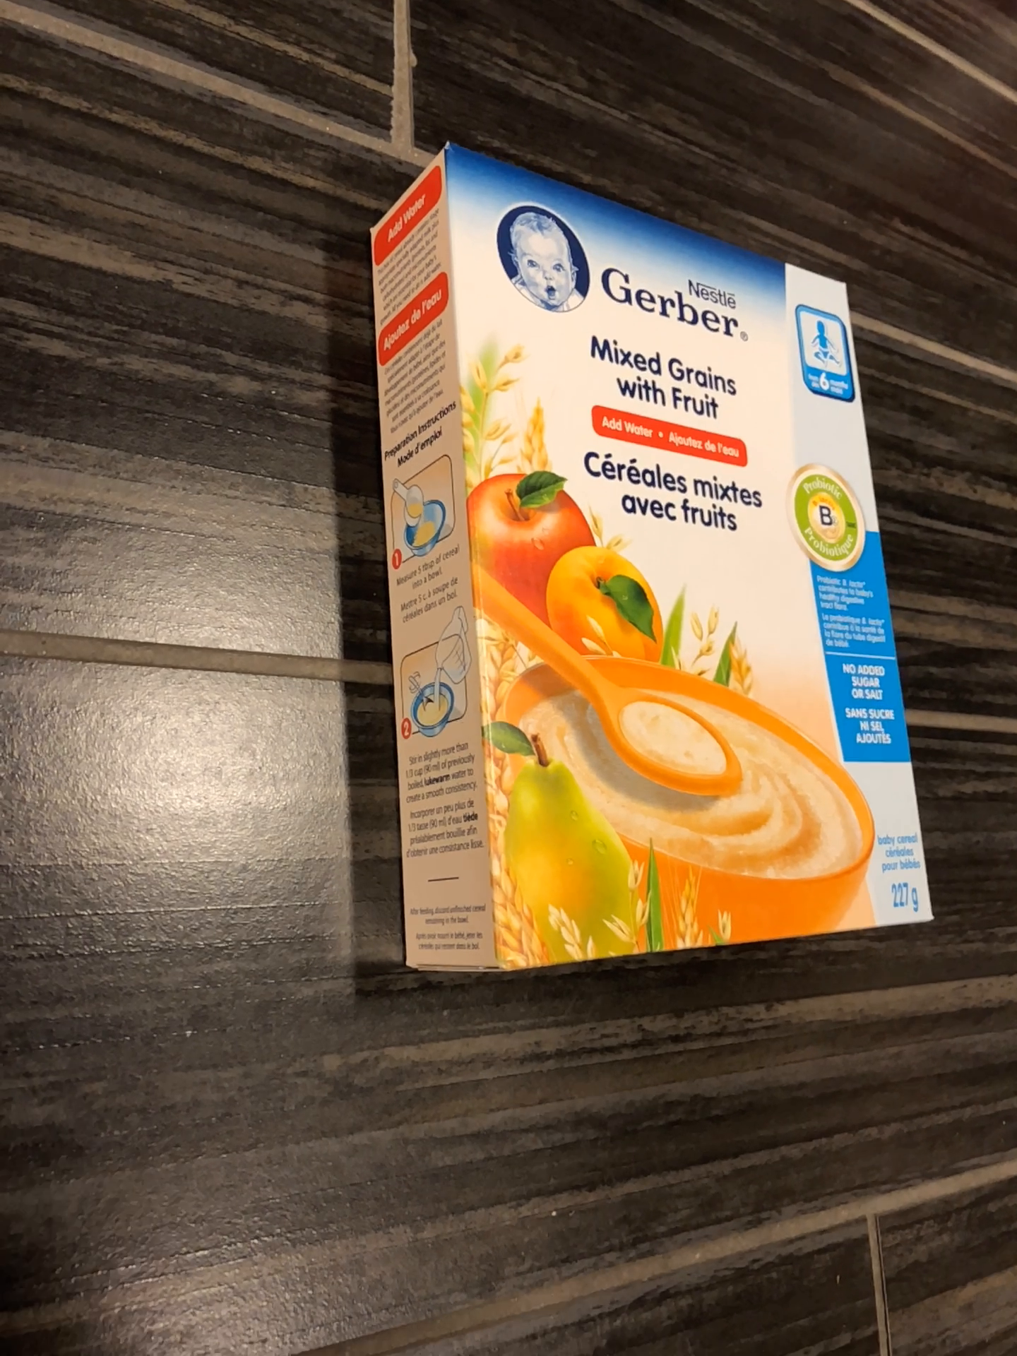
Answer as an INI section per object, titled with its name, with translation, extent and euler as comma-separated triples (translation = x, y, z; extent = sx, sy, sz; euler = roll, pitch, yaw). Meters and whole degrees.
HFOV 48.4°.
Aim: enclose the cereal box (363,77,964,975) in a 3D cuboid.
[cereal box]
translation = 0.043, -0.031, 0.304
extent = 0.151, 0.050, 0.200
euler = 4, 78, -34
